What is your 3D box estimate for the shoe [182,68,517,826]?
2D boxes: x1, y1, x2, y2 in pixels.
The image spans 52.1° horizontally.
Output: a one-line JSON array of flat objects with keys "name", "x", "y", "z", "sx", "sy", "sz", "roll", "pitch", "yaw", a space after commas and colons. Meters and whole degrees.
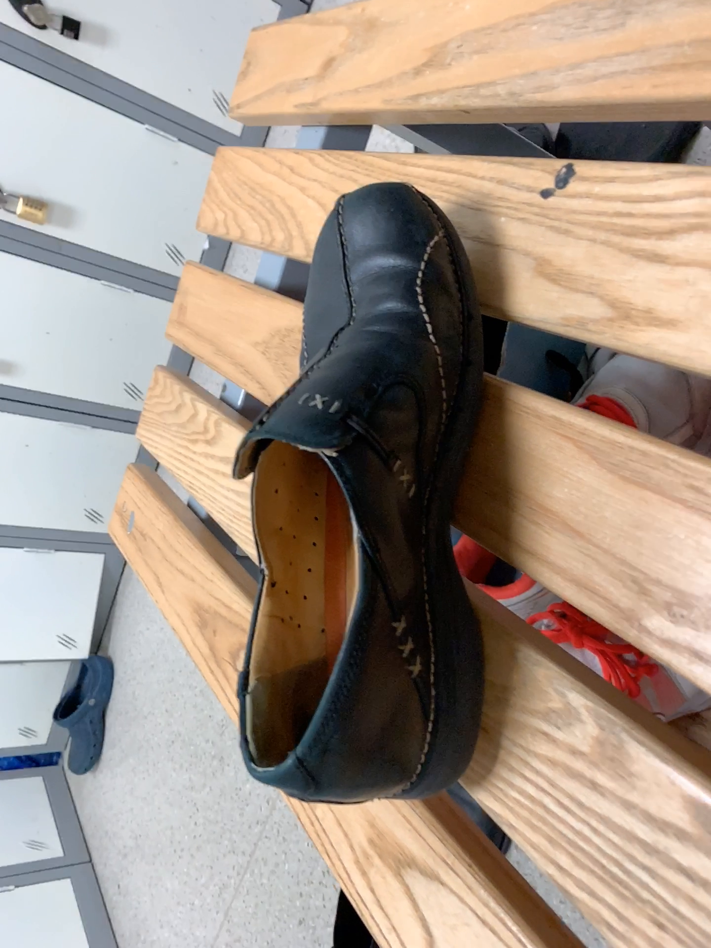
[{"name": "shoe", "x": -0.010, "y": -0.011, "z": 0.306, "sx": 0.104, "sy": 0.075, "sz": 0.268, "roll": -20, "pitch": 66, "yaw": 48}]
